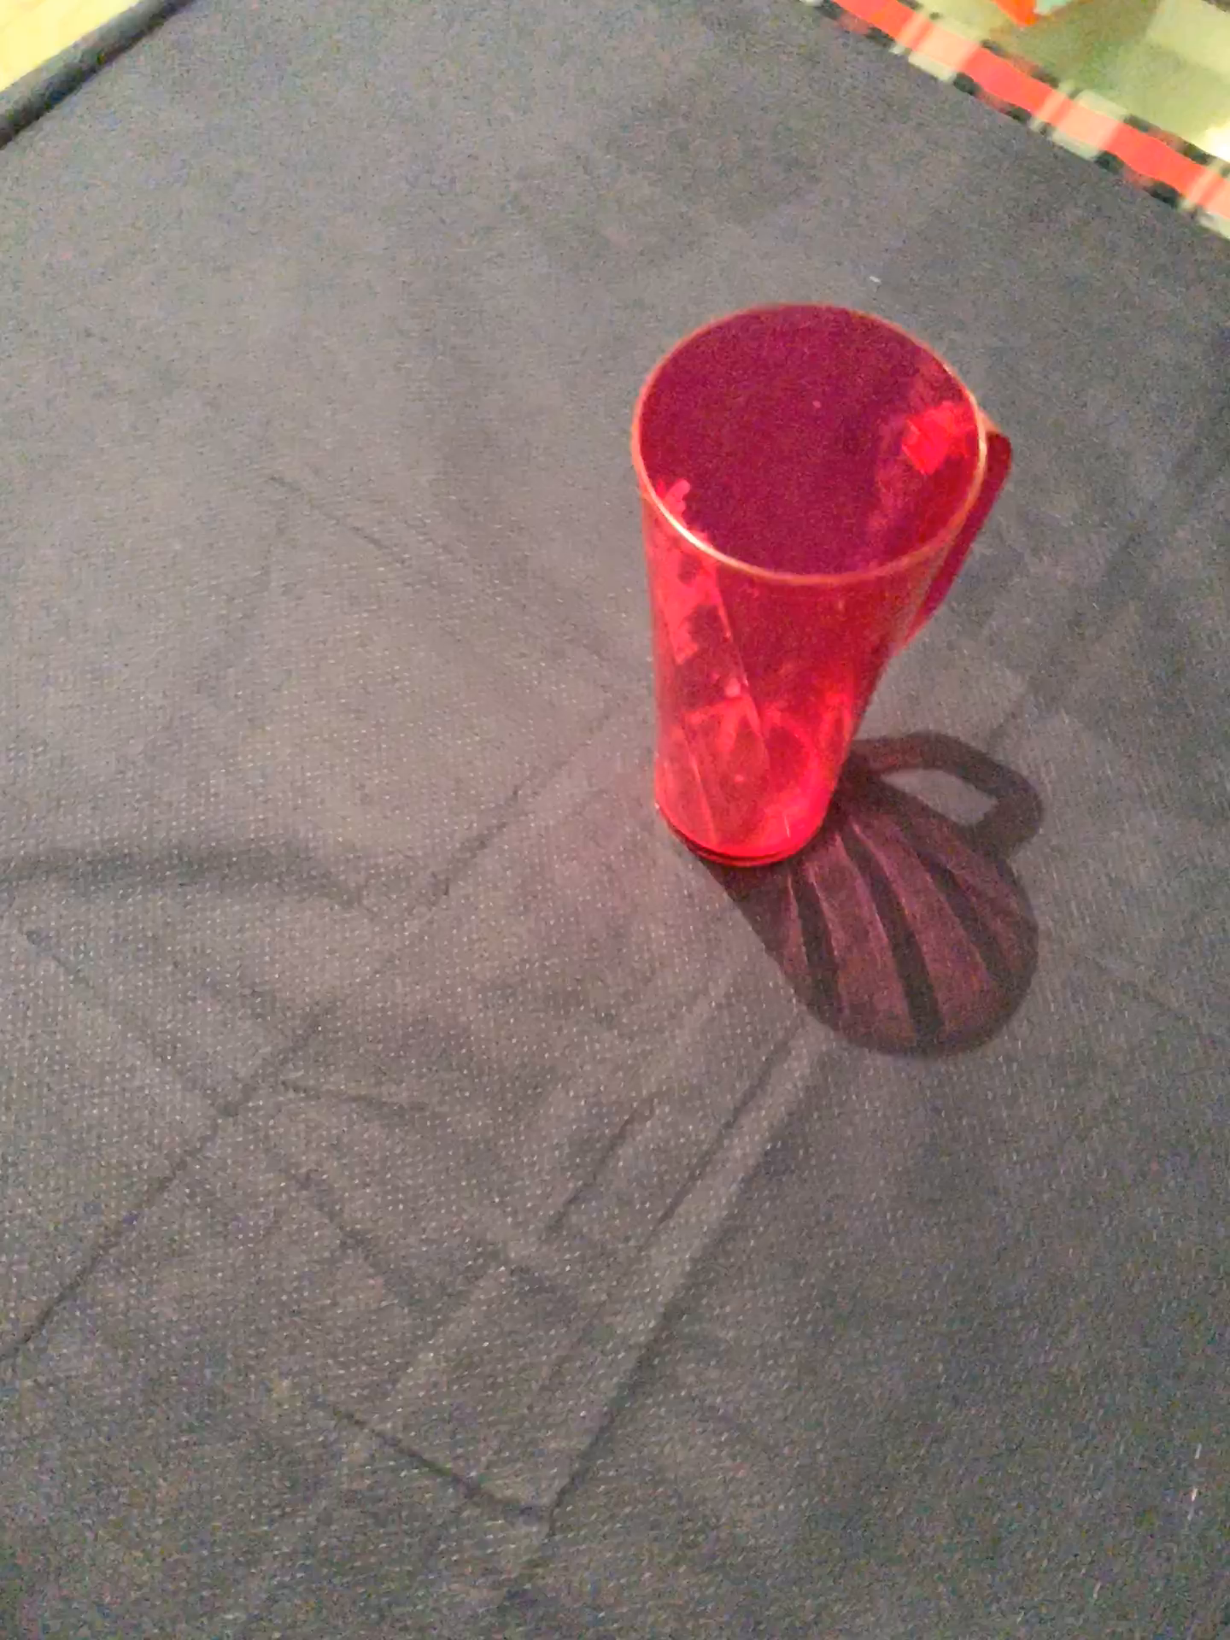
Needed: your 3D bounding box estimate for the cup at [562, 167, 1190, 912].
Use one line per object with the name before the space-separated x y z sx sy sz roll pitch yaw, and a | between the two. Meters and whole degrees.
cup | 0.051 -0.055 0.326 0.100 0.170 0.070 -26 69 -10
